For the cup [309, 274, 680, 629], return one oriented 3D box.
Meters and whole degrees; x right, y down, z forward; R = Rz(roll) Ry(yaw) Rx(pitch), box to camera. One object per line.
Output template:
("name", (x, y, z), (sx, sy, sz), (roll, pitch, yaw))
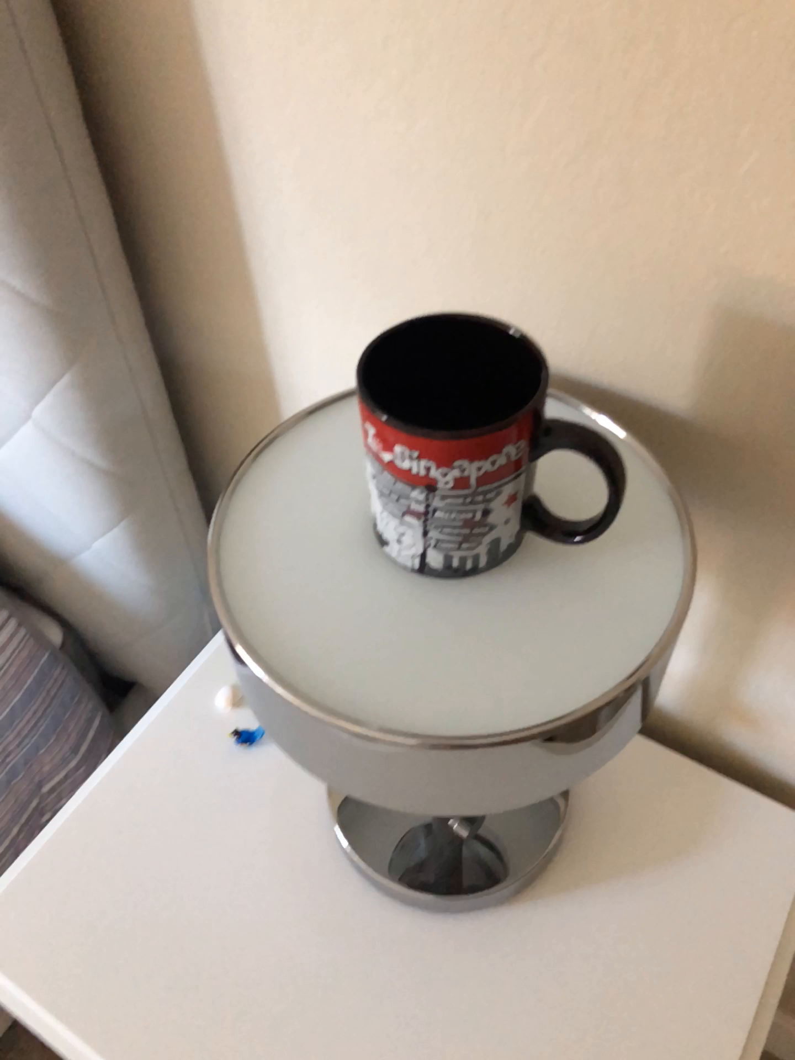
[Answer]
("cup", (0.044, -0.036, 0.393), (0.130, 0.100, 0.090), (13, 51, 14))
